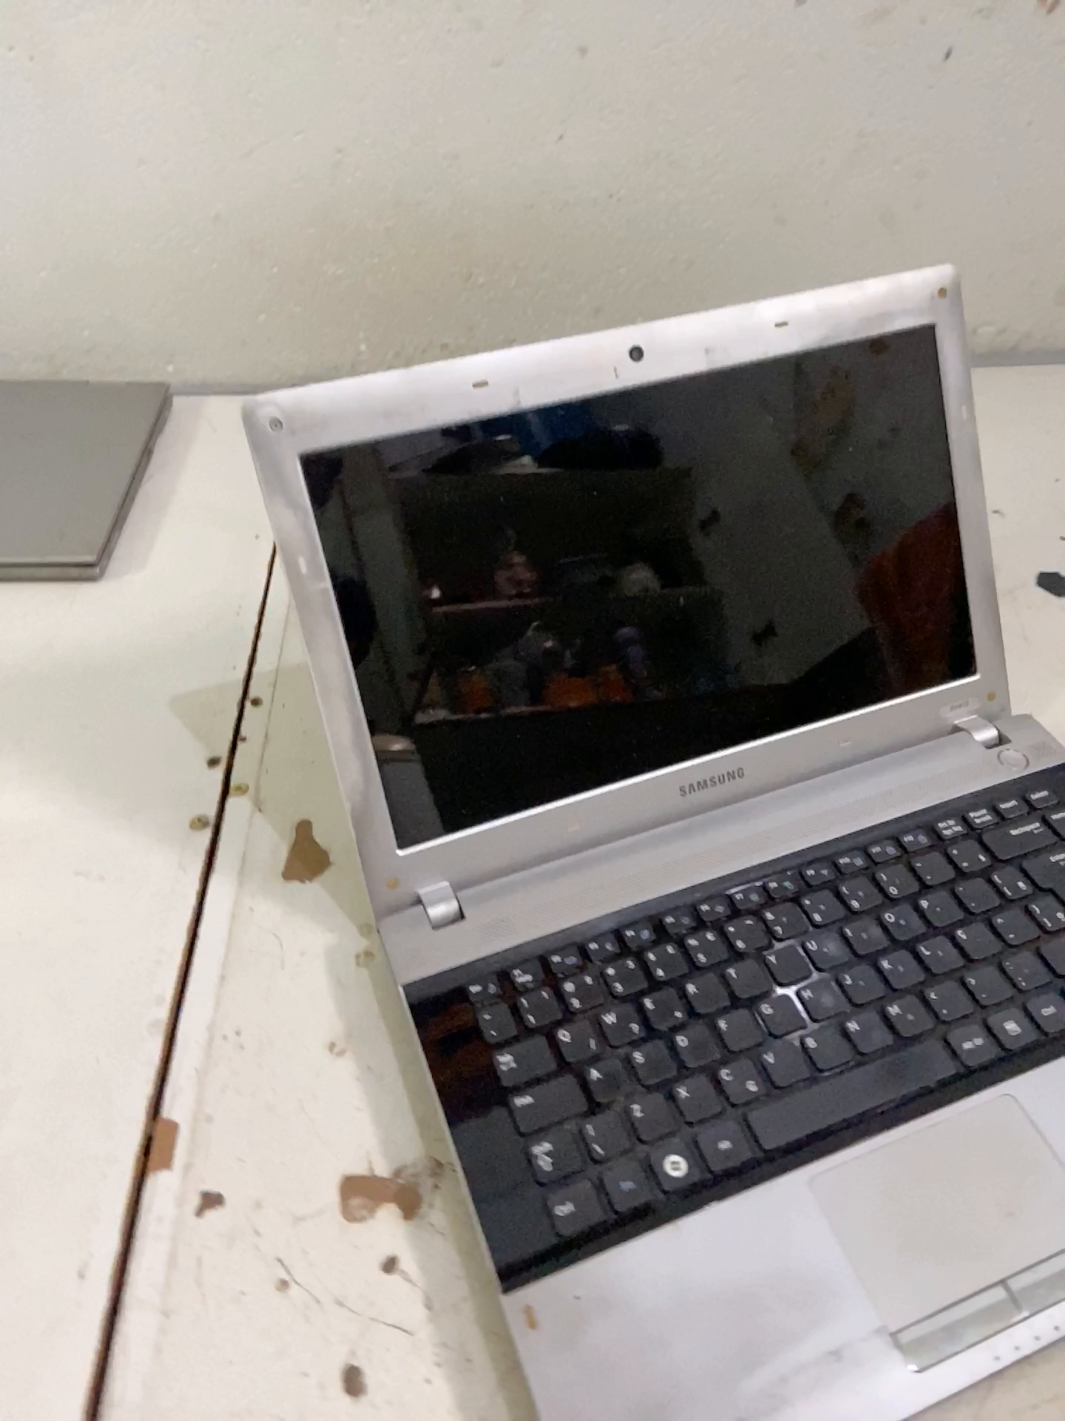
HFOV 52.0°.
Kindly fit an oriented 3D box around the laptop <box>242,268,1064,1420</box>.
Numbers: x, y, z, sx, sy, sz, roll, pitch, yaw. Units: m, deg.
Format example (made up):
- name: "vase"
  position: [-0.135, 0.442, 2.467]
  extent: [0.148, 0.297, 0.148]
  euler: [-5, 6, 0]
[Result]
- name: "laptop"
  position: [0.112, 0.016, 0.415]
  extent: [0.342, 0.180, 0.368]
  euler: [-15, 46, -15]
